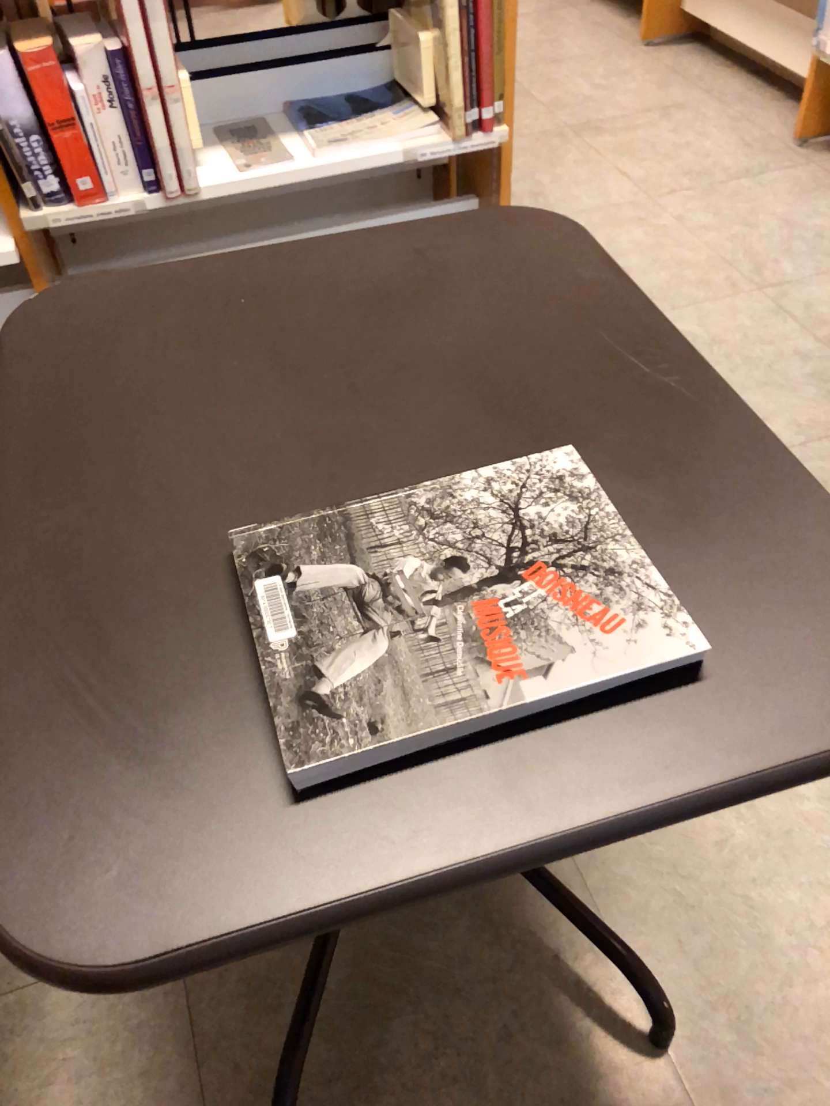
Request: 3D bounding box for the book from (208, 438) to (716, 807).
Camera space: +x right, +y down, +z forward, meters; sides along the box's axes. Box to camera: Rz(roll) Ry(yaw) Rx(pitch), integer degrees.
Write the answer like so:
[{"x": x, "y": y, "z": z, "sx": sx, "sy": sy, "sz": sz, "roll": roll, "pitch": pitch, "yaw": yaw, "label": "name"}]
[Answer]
[{"x": 0.017, "y": 0.026, "z": 0.550, "sx": 0.250, "sy": 0.030, "sz": 0.195, "roll": -13, "pitch": 47, "yaw": -12, "label": "book"}]
